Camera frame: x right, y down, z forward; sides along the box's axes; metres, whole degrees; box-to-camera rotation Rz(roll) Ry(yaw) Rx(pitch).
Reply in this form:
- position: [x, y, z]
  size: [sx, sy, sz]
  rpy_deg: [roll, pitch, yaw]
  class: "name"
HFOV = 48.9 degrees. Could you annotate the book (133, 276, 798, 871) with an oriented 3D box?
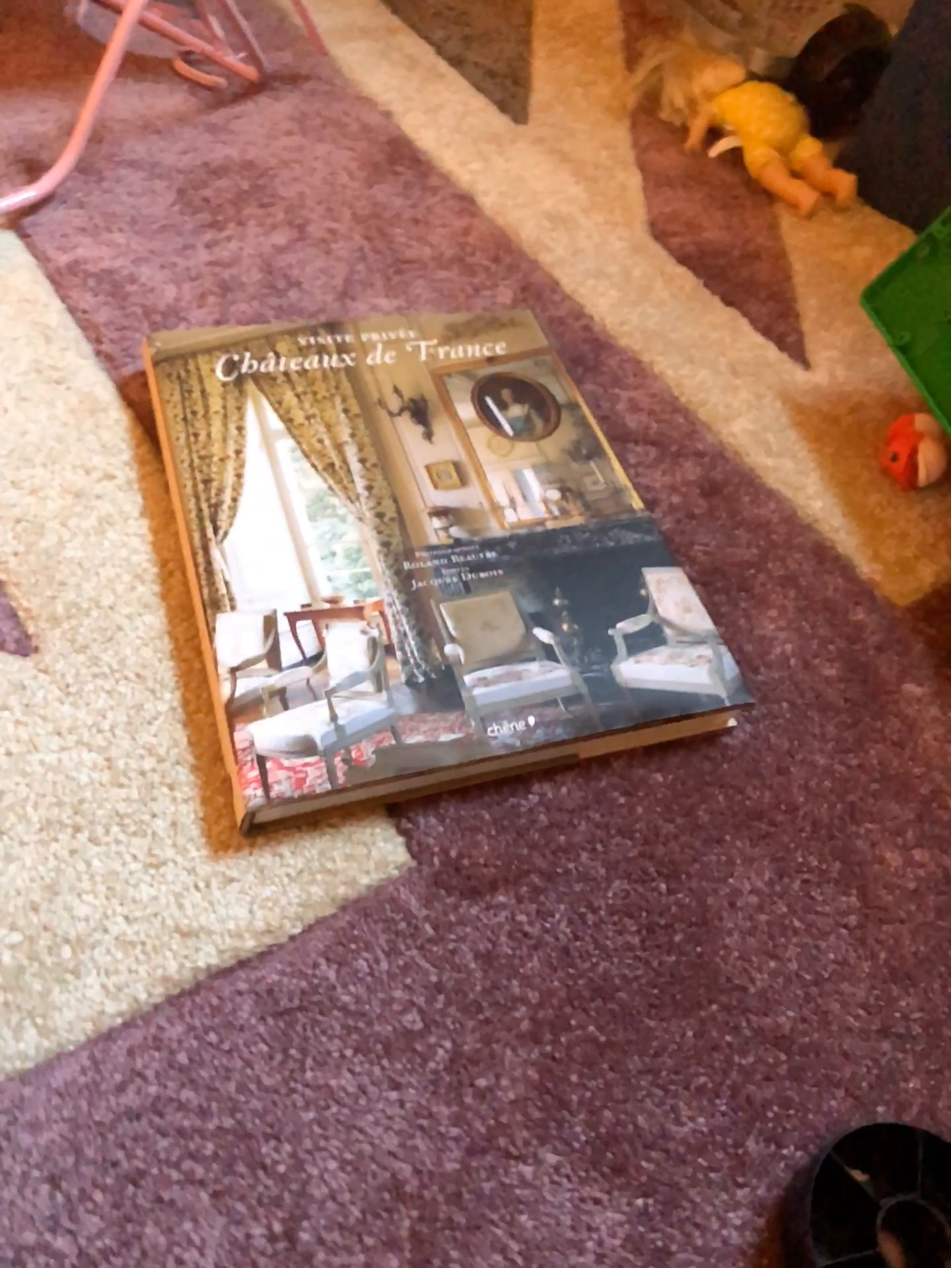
- position: [-0.026, -0.065, 0.563]
  size: [0.261, 0.050, 0.341]
  rpy_deg: [-9, 54, -17]
  class: "book"
